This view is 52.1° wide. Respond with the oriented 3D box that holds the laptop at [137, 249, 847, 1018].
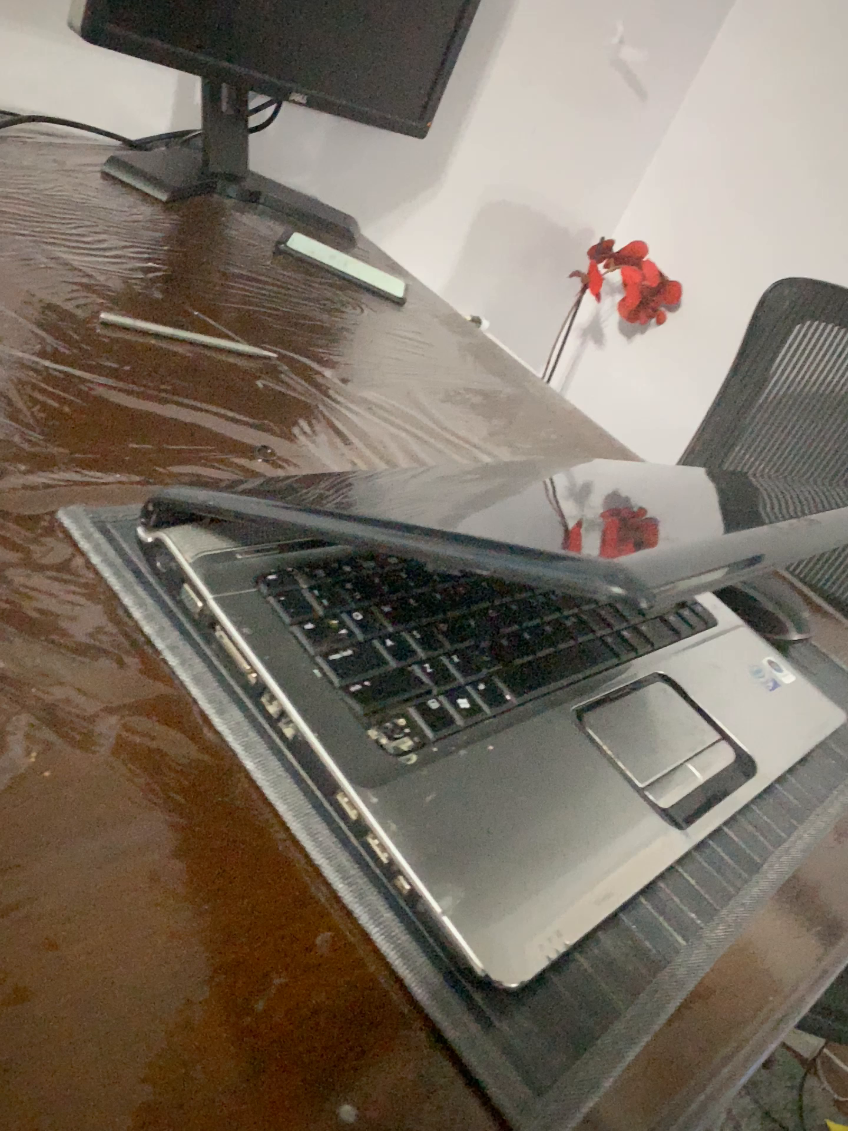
[{"bbox_3d":[0.083,-0.013,0.416,0.344,0.109,0.244,-11,50,-49],"label":"laptop"}]
